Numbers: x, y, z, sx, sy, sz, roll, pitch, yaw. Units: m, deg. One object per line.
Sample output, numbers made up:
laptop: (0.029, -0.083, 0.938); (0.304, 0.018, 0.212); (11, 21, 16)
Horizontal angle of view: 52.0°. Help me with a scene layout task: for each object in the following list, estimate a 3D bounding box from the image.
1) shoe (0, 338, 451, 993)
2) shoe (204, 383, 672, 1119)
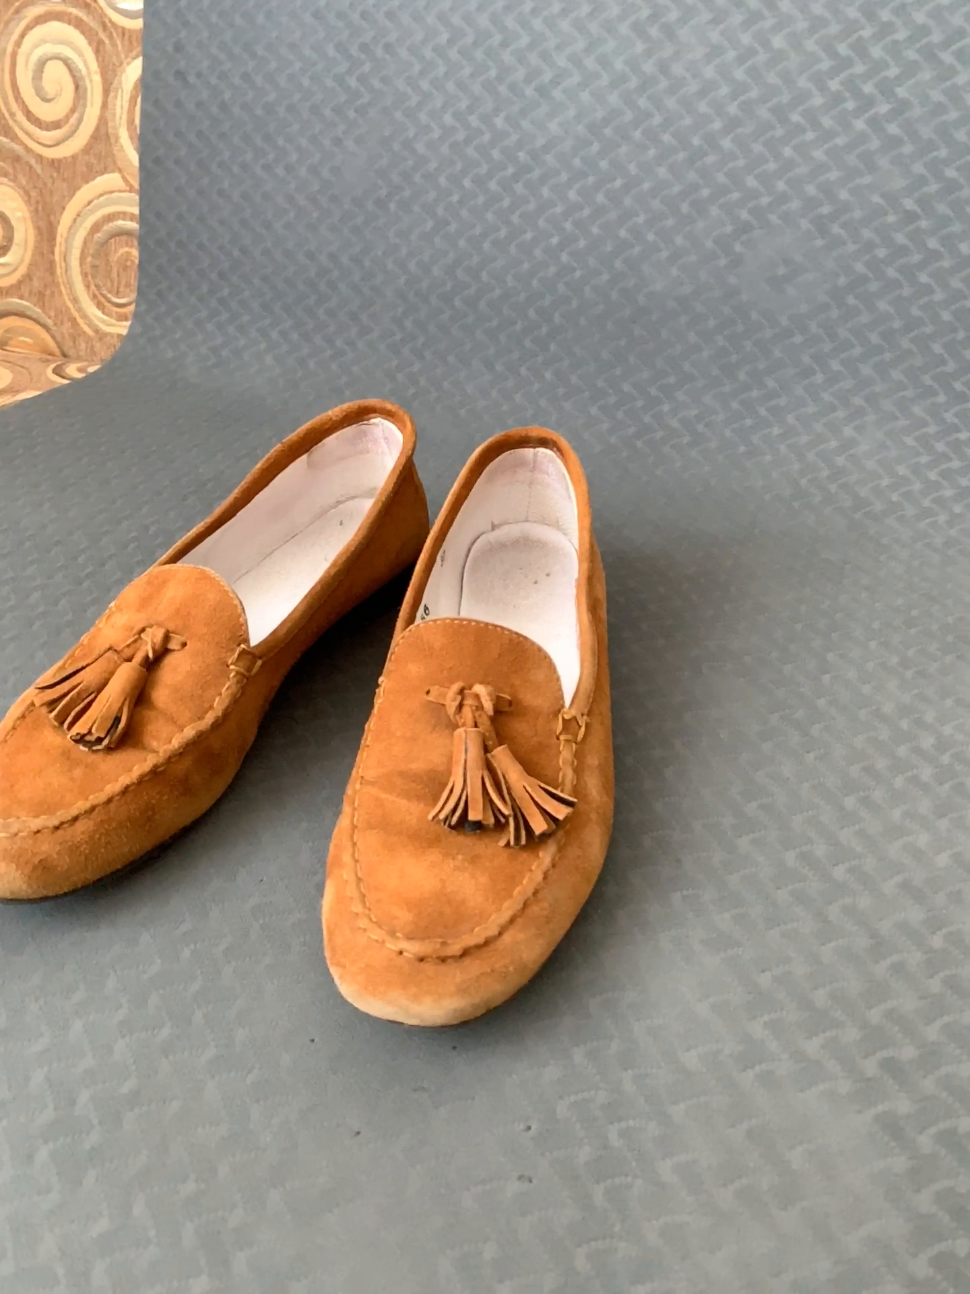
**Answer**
shoe: (-0.111, -0.014, 0.355); (0.090, 0.090, 0.231); (20, 46, 21)
shoe: (0.004, 0.011, 0.339); (0.090, 0.090, 0.241); (8, 43, 9)
